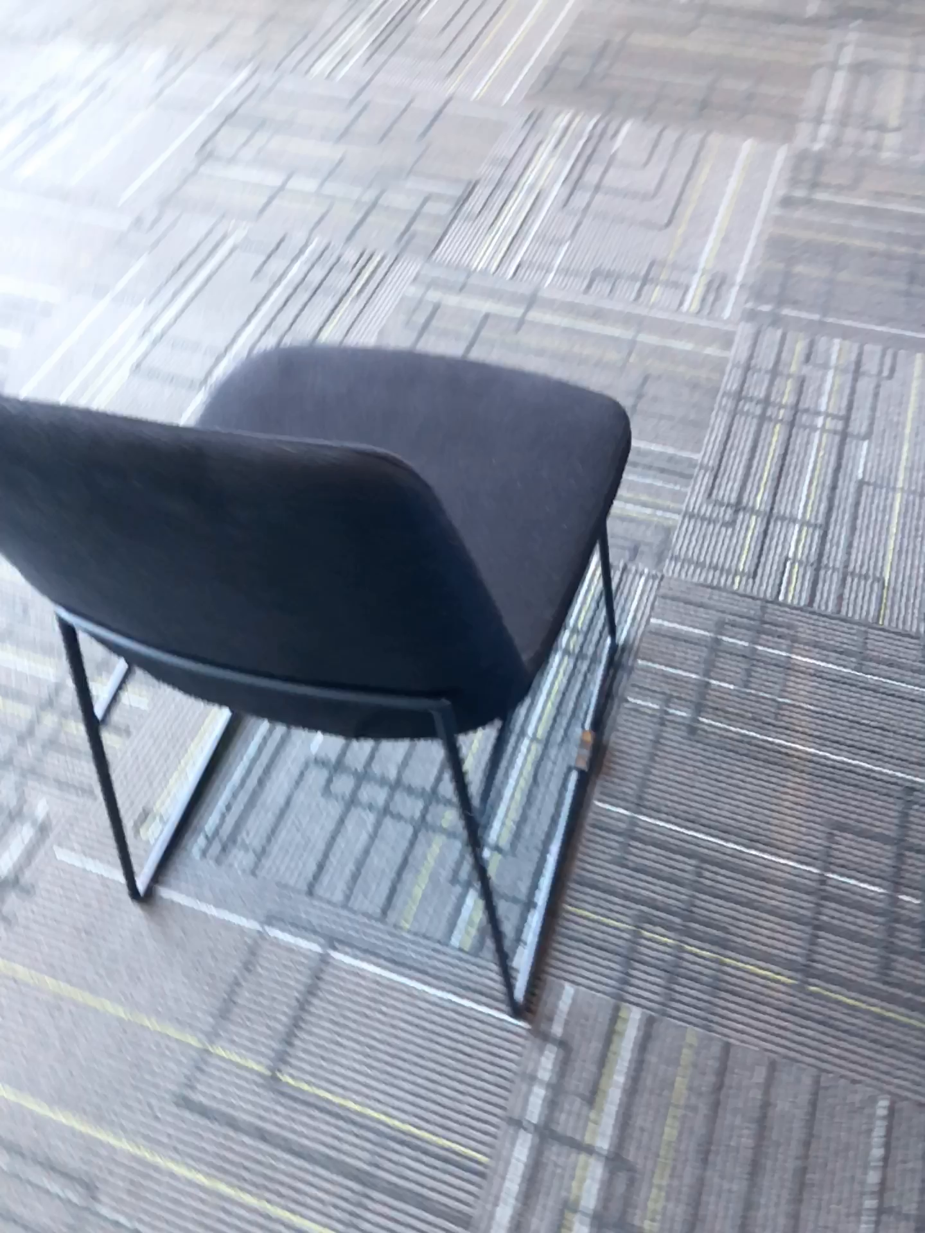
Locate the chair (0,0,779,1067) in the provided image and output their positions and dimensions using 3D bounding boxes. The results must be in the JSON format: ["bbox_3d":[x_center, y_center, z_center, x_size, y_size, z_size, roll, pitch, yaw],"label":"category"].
[{"bbox_3d":[-0.125,-0.073,0.890,0.560,0.767,0.552,13,55,12],"label":"chair"}]
